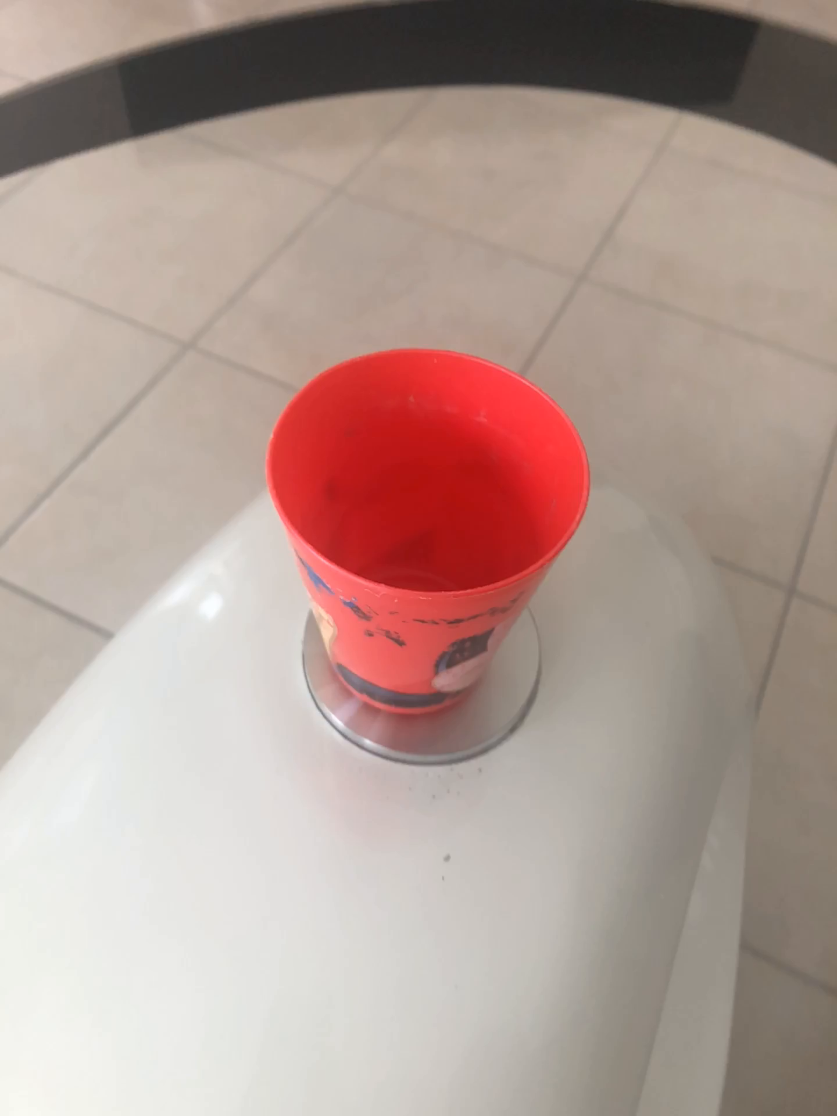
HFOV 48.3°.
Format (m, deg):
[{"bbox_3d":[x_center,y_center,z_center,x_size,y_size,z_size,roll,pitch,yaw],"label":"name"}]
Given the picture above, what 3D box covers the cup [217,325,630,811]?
[{"bbox_3d":[0.003,0.005,0.257,0.080,0.089,0.080,2,54,-3],"label":"cup"}]
